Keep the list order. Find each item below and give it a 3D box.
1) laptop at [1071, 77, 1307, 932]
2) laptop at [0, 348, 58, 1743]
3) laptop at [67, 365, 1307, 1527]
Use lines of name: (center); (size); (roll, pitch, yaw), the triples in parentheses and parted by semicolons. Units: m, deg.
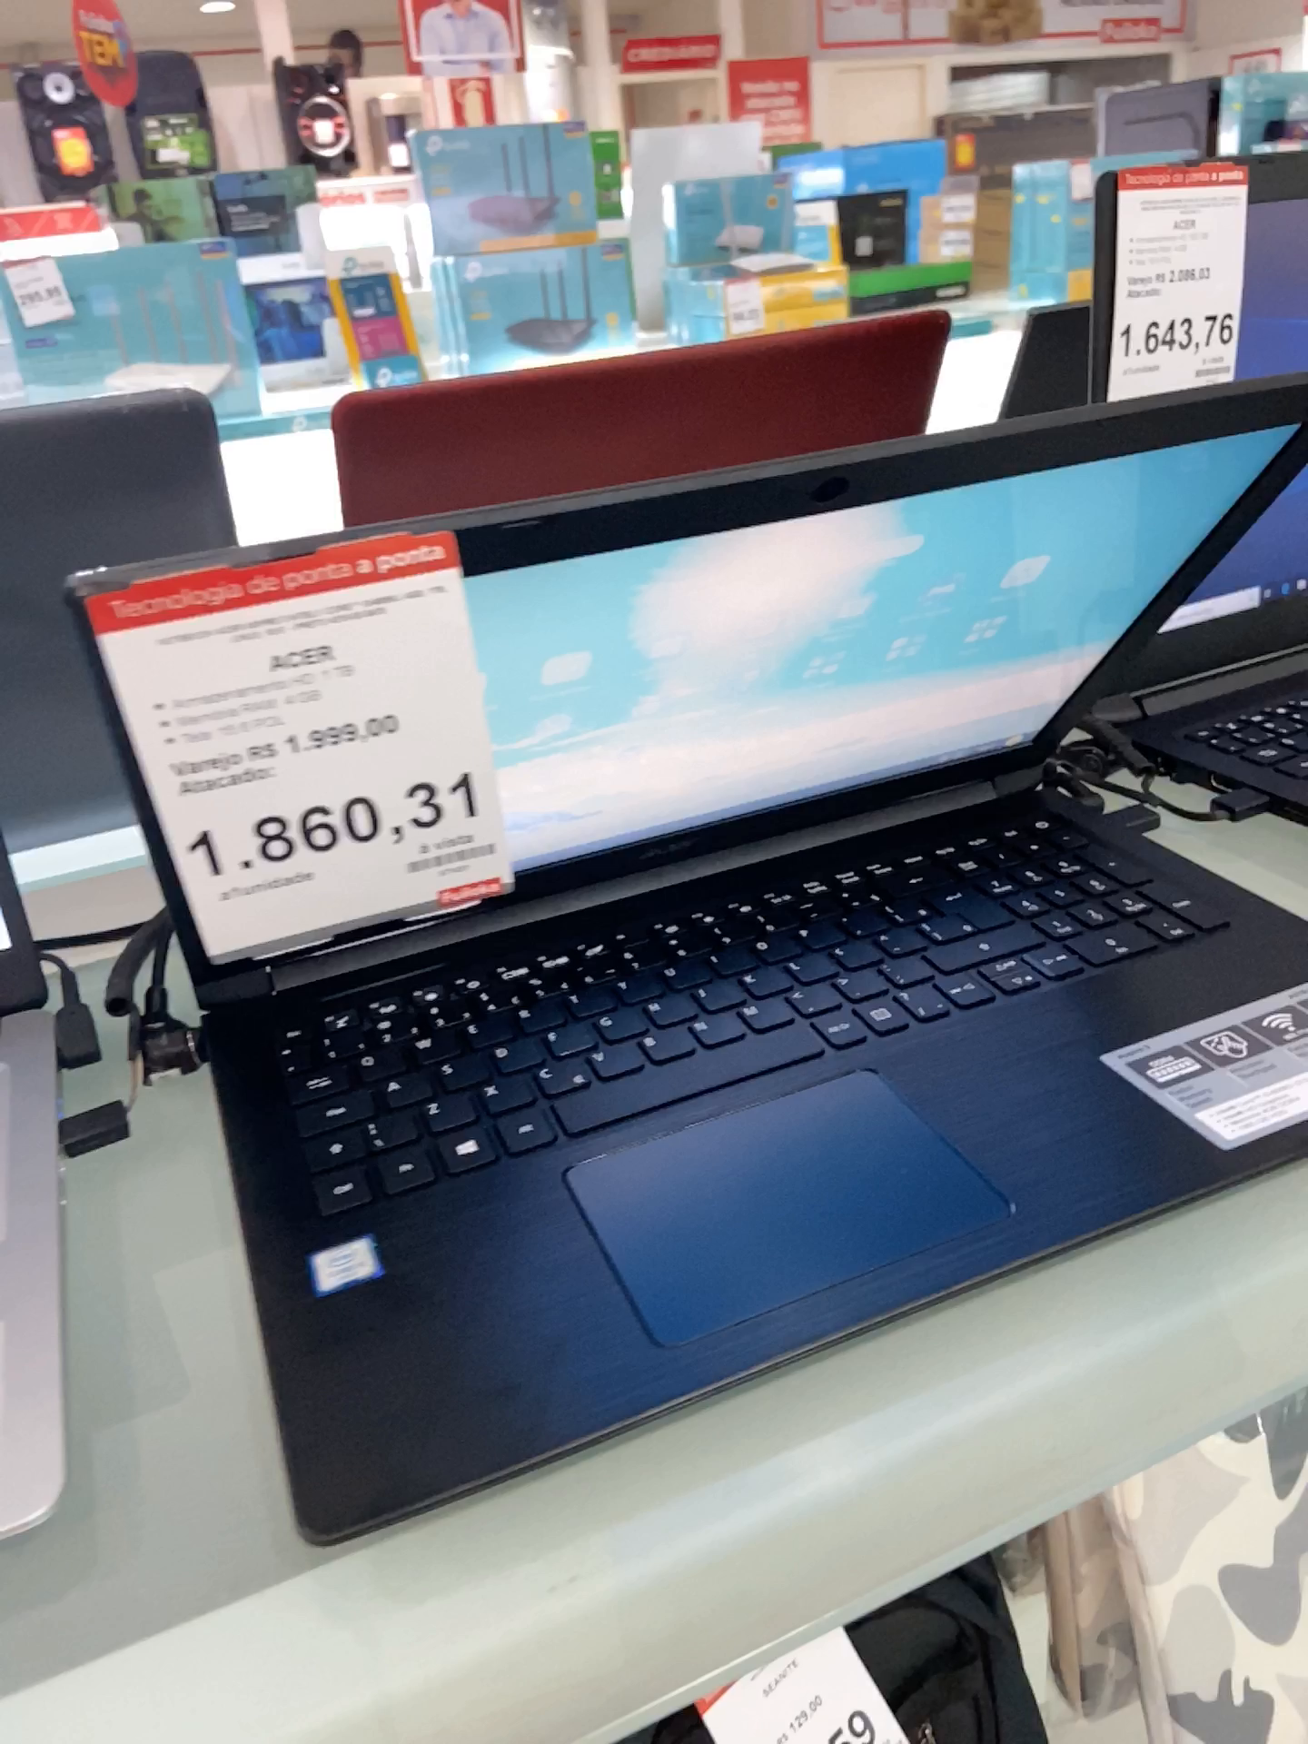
laptop: (0.449, -0.202, 0.617); (0.431, 0.246, 0.285); (-16, 28, -22)
laptop: (-0.389, 0.031, 0.330); (0.395, 0.233, 0.303); (-15, 27, -17)
laptop: (0.043, -0.027, 0.415); (0.374, 0.186, 0.234); (-15, 27, -17)
